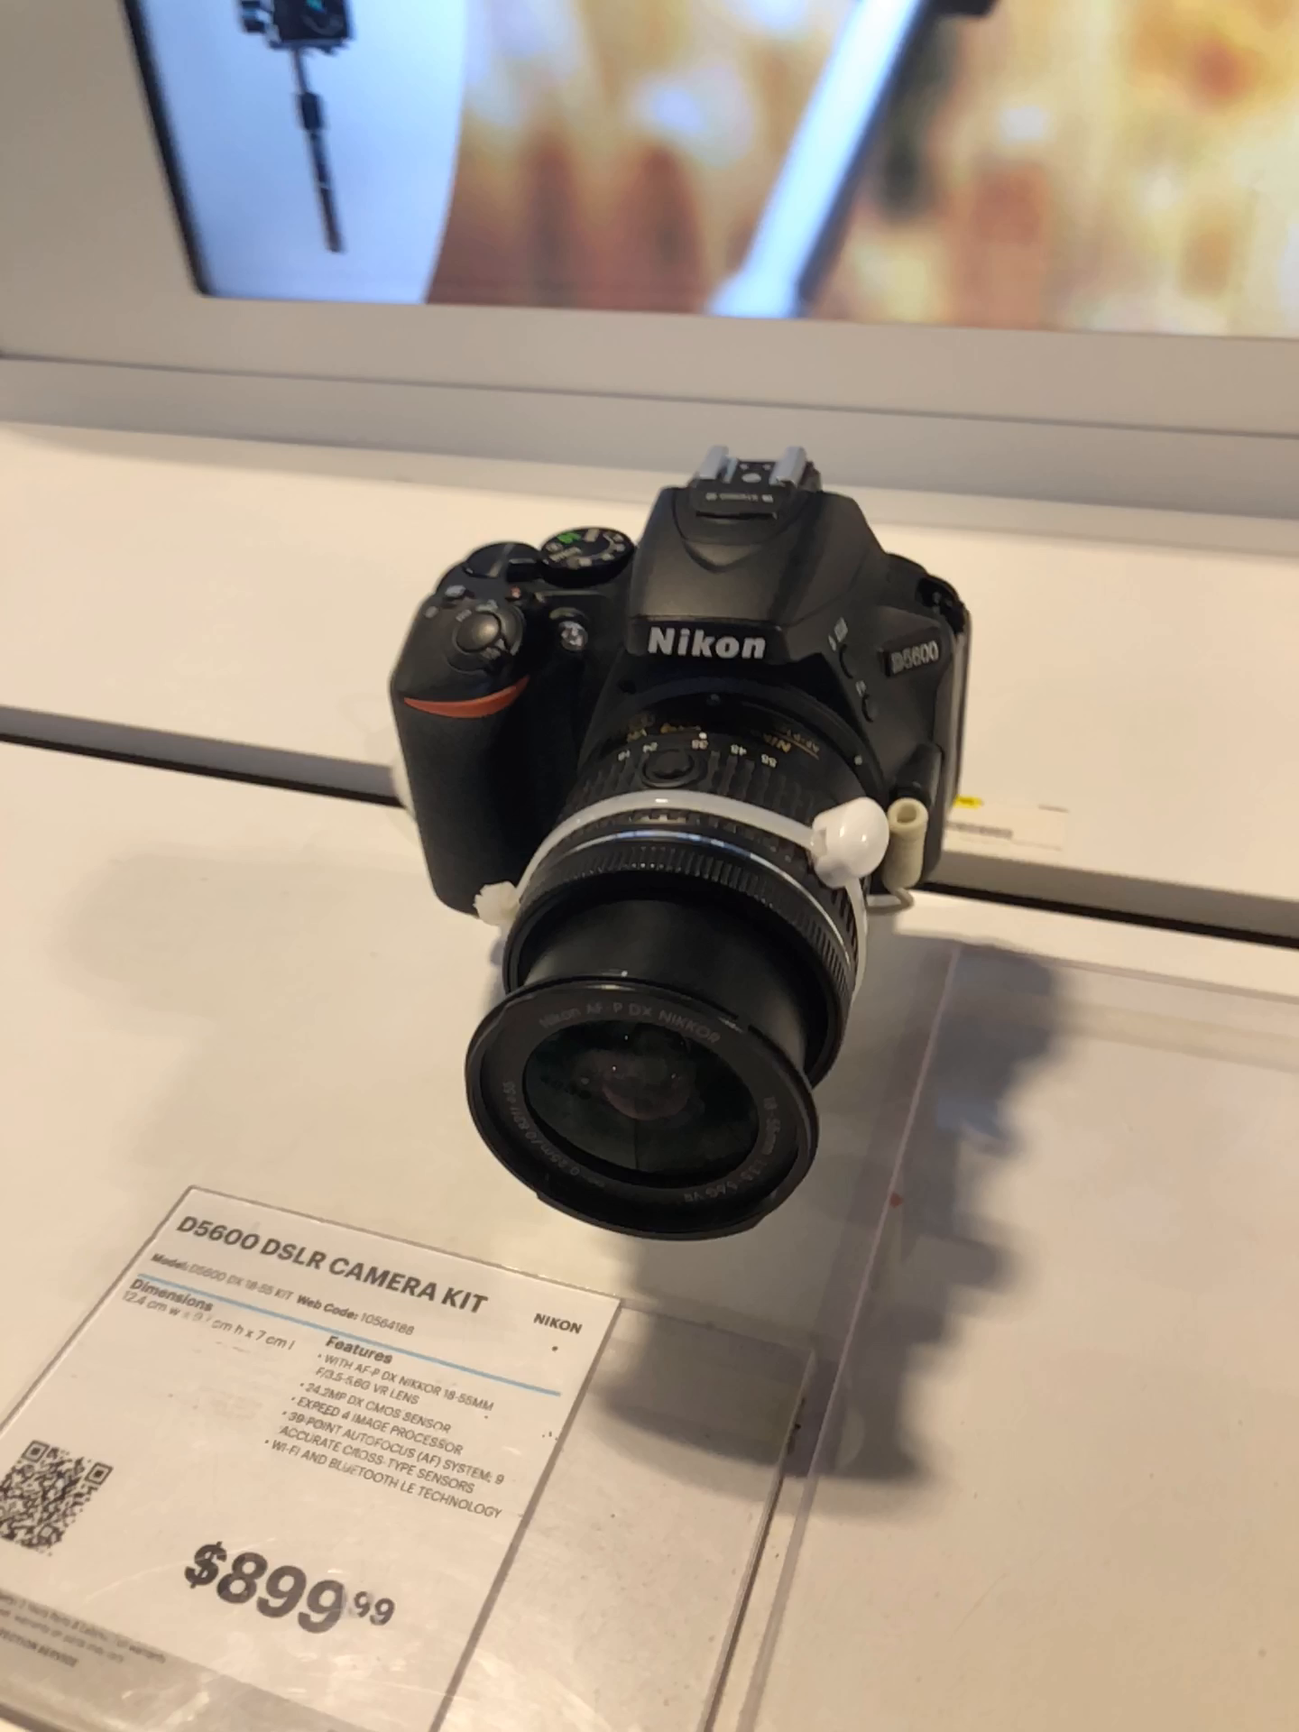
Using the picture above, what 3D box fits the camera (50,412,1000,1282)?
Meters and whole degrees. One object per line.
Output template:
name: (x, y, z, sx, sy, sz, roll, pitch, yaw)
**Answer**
camera: (-0.004, -0.018, 0.280, 0.130, 0.089, 0.151, 5, 37, 13)
